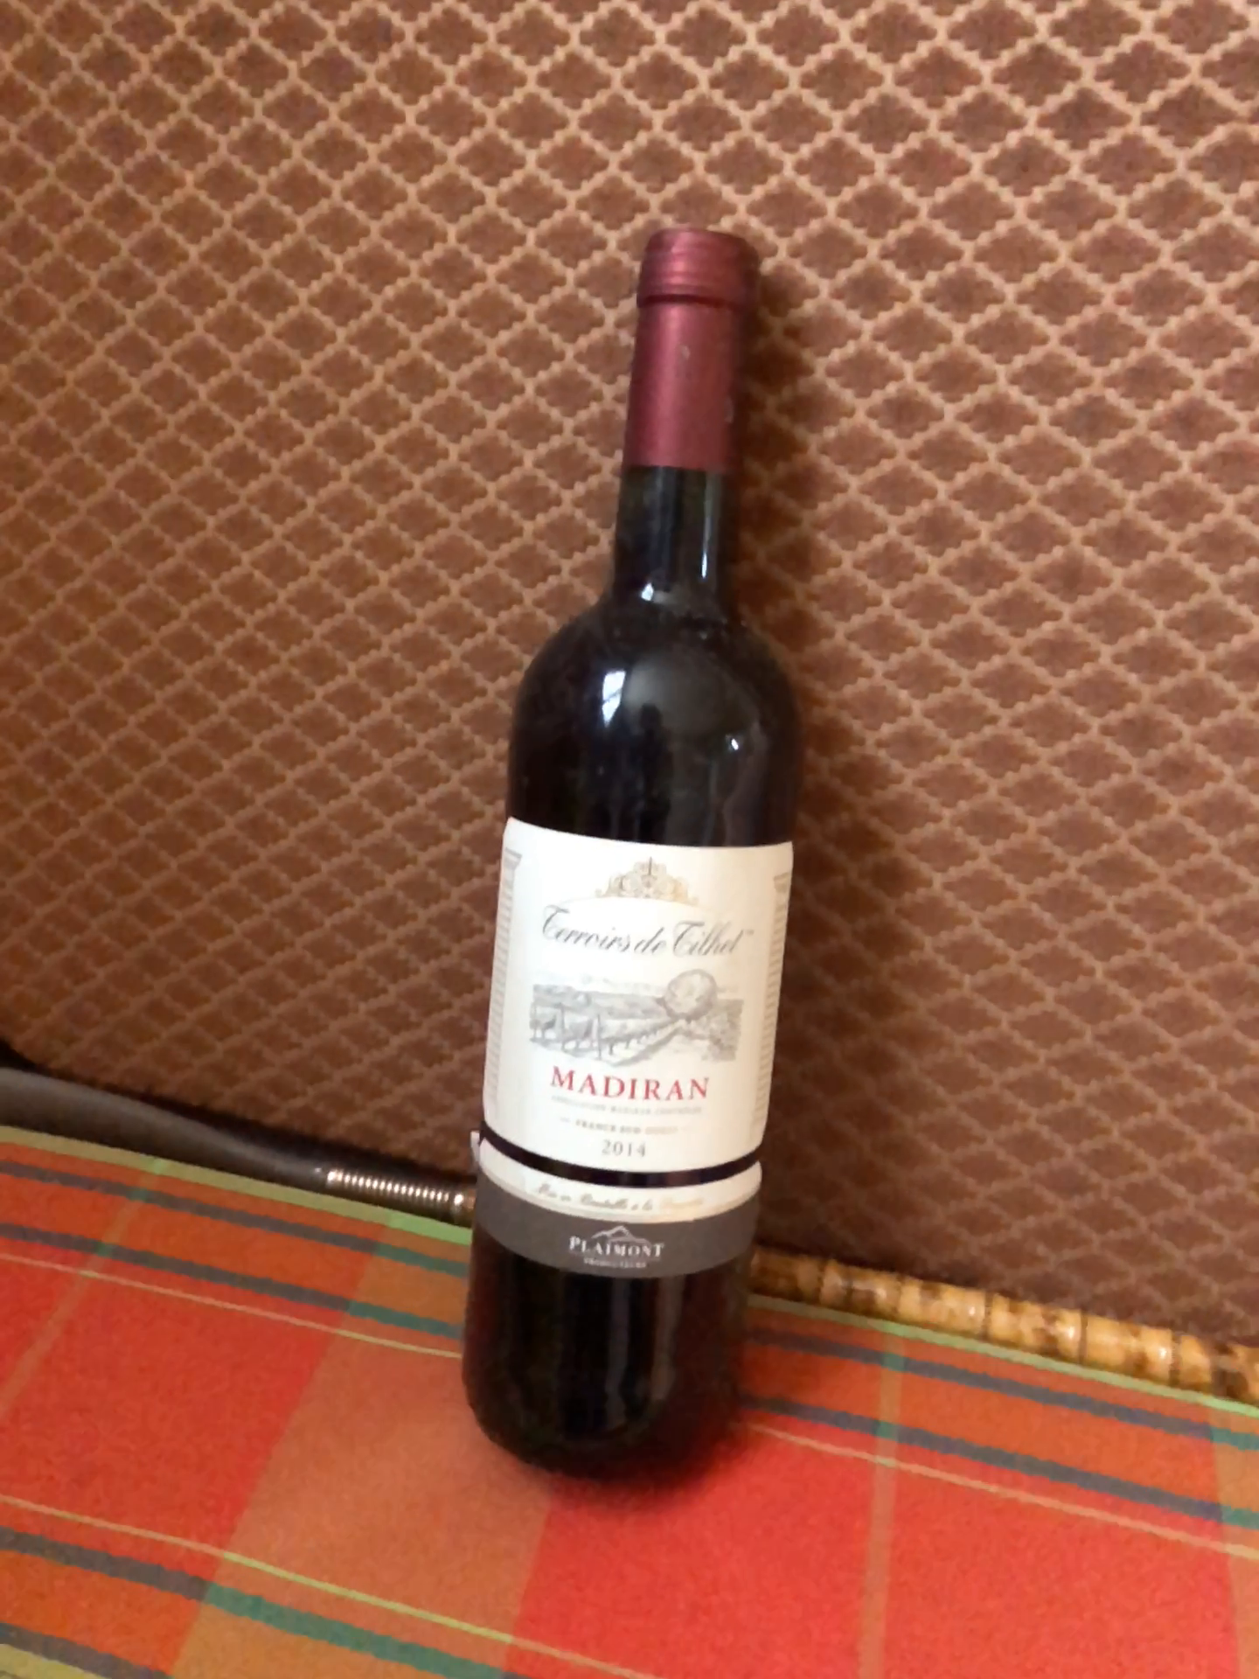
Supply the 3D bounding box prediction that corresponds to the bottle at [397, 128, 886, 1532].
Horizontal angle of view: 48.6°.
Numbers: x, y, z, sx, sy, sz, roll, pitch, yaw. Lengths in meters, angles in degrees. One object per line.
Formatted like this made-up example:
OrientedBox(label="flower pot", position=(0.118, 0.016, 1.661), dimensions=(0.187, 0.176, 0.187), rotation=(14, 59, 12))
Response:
OrientedBox(label="bottle", position=(0.001, 0.002, 0.344), dimensions=(0.080, 0.299, 0.090), rotation=(6, 10, 4))
